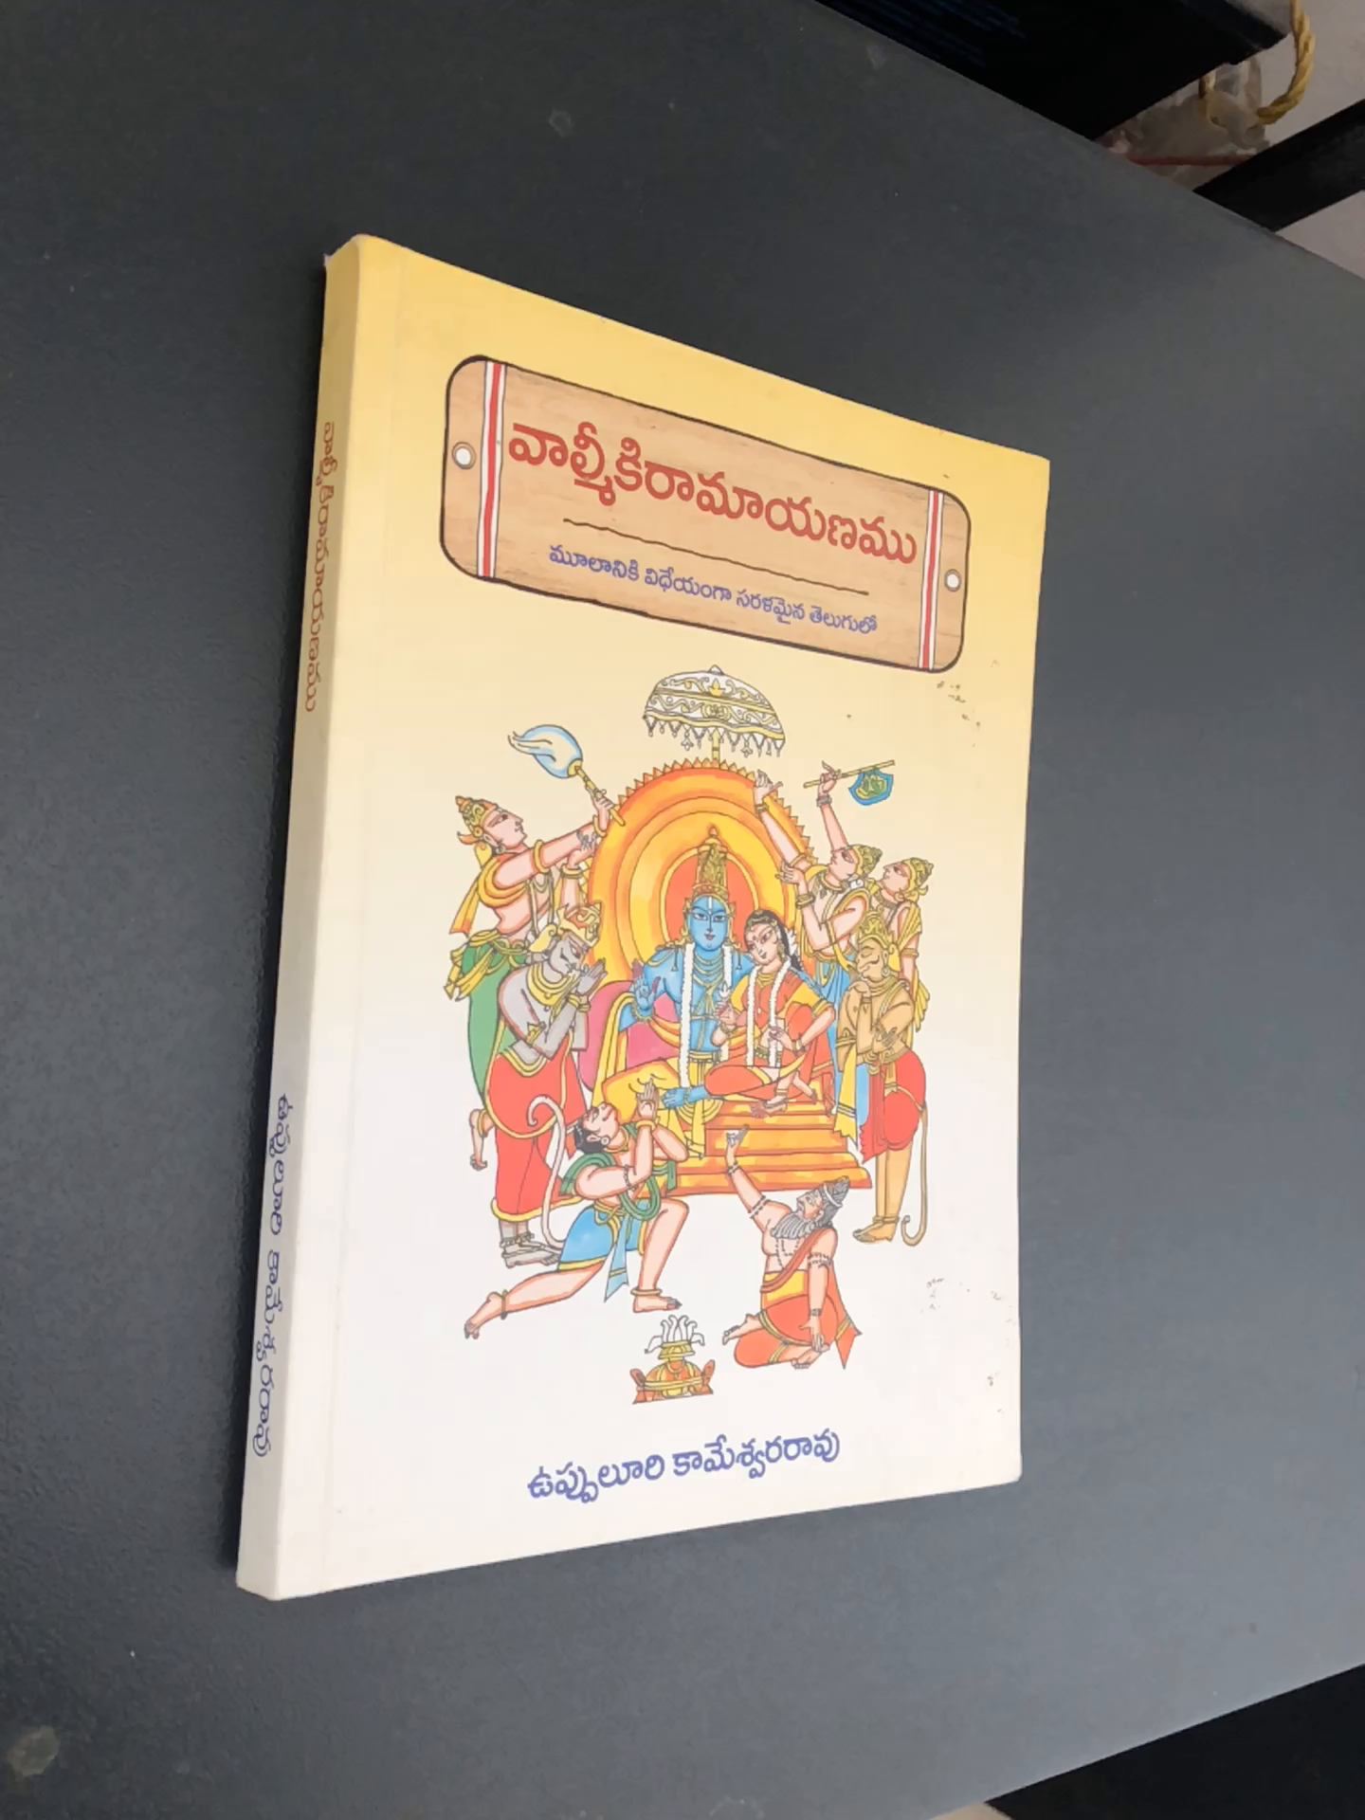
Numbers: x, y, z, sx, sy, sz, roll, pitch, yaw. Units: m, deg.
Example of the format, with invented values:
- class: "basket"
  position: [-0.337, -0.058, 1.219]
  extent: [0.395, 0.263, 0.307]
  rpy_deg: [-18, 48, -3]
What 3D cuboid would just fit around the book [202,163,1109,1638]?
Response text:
- class: "book"
  position: [0.011, 0.002, 0.305]
  extent: [0.191, 0.020, 0.240]
  rpy_deg: [6, 84, -33]
